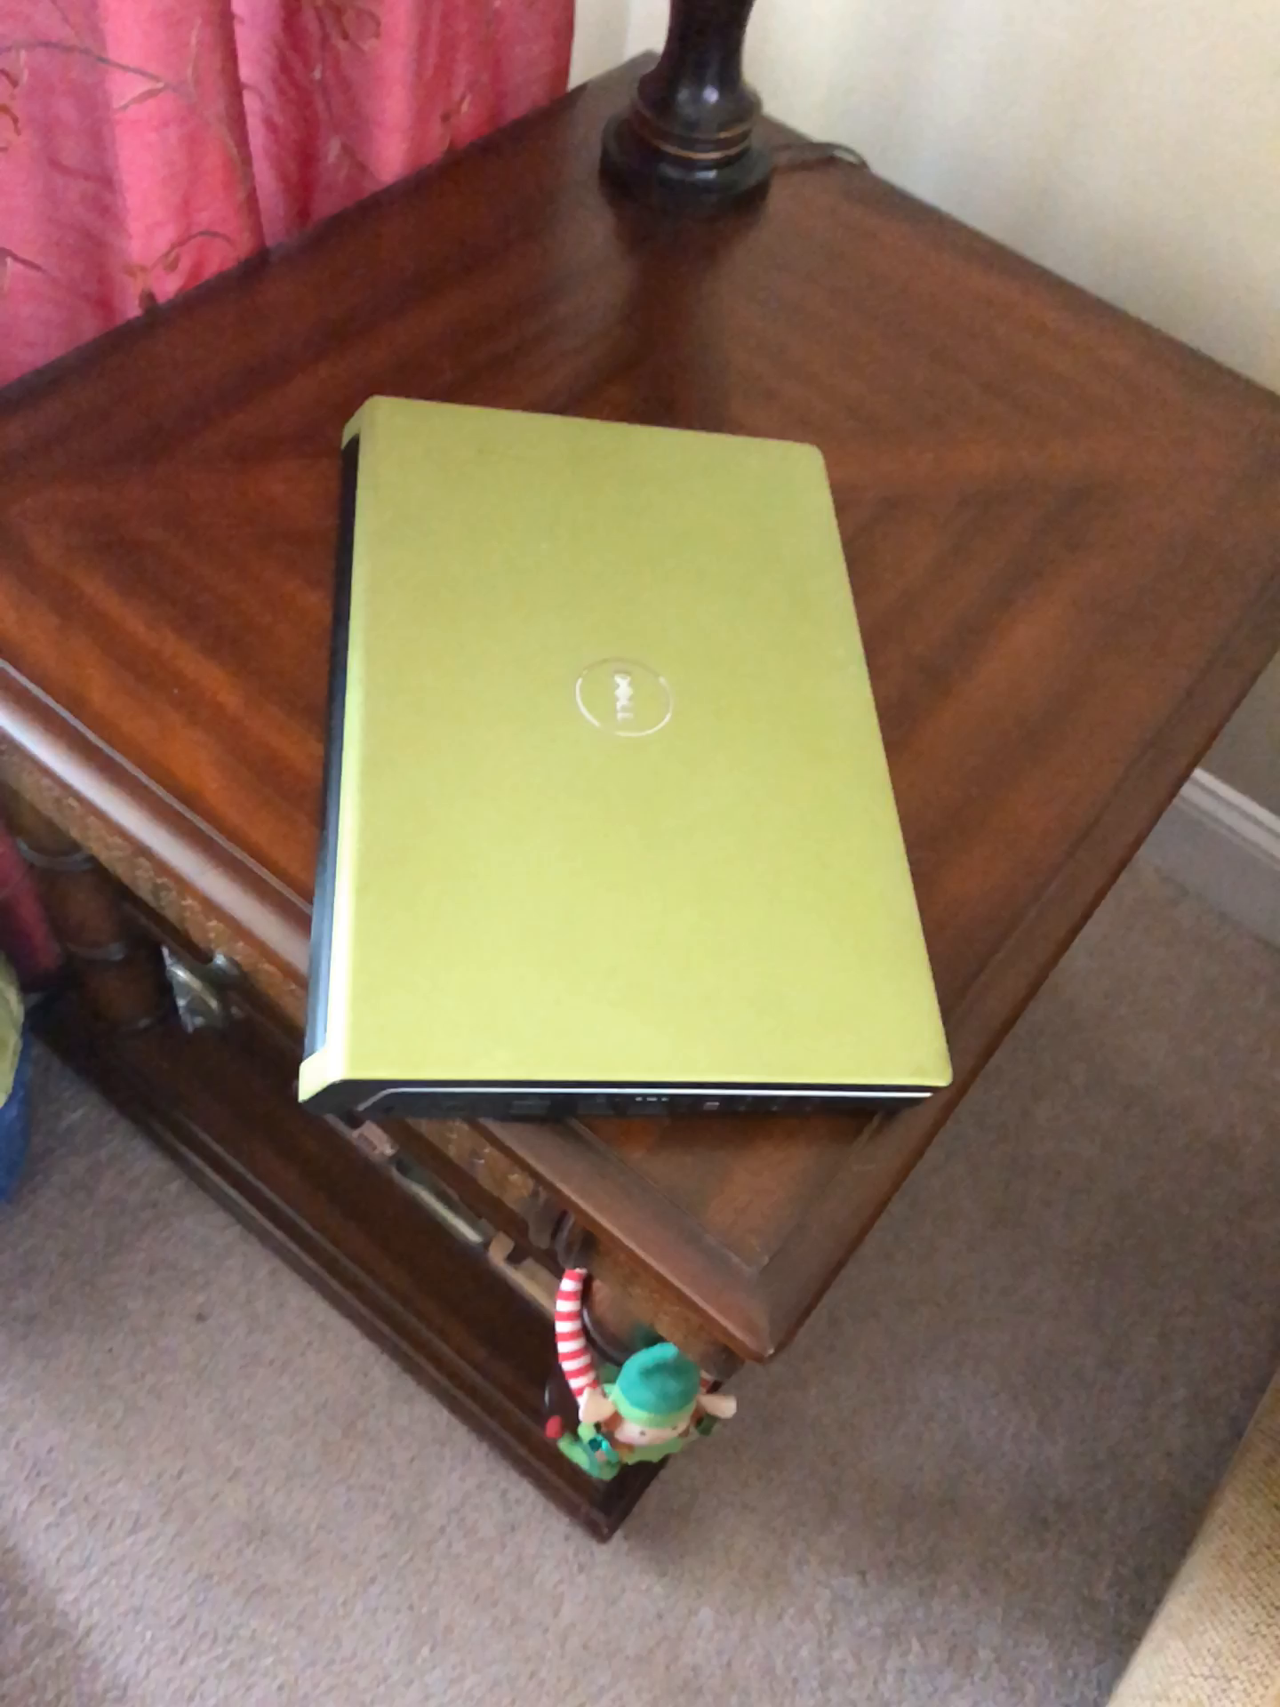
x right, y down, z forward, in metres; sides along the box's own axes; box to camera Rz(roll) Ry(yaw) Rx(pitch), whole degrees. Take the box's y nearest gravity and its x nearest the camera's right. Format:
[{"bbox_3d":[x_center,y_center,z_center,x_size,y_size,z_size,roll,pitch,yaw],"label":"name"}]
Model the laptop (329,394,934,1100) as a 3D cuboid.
[{"bbox_3d":[-0.013,-0.067,0.650,0.236,0.020,0.380,3,55,-12],"label":"laptop"}]
